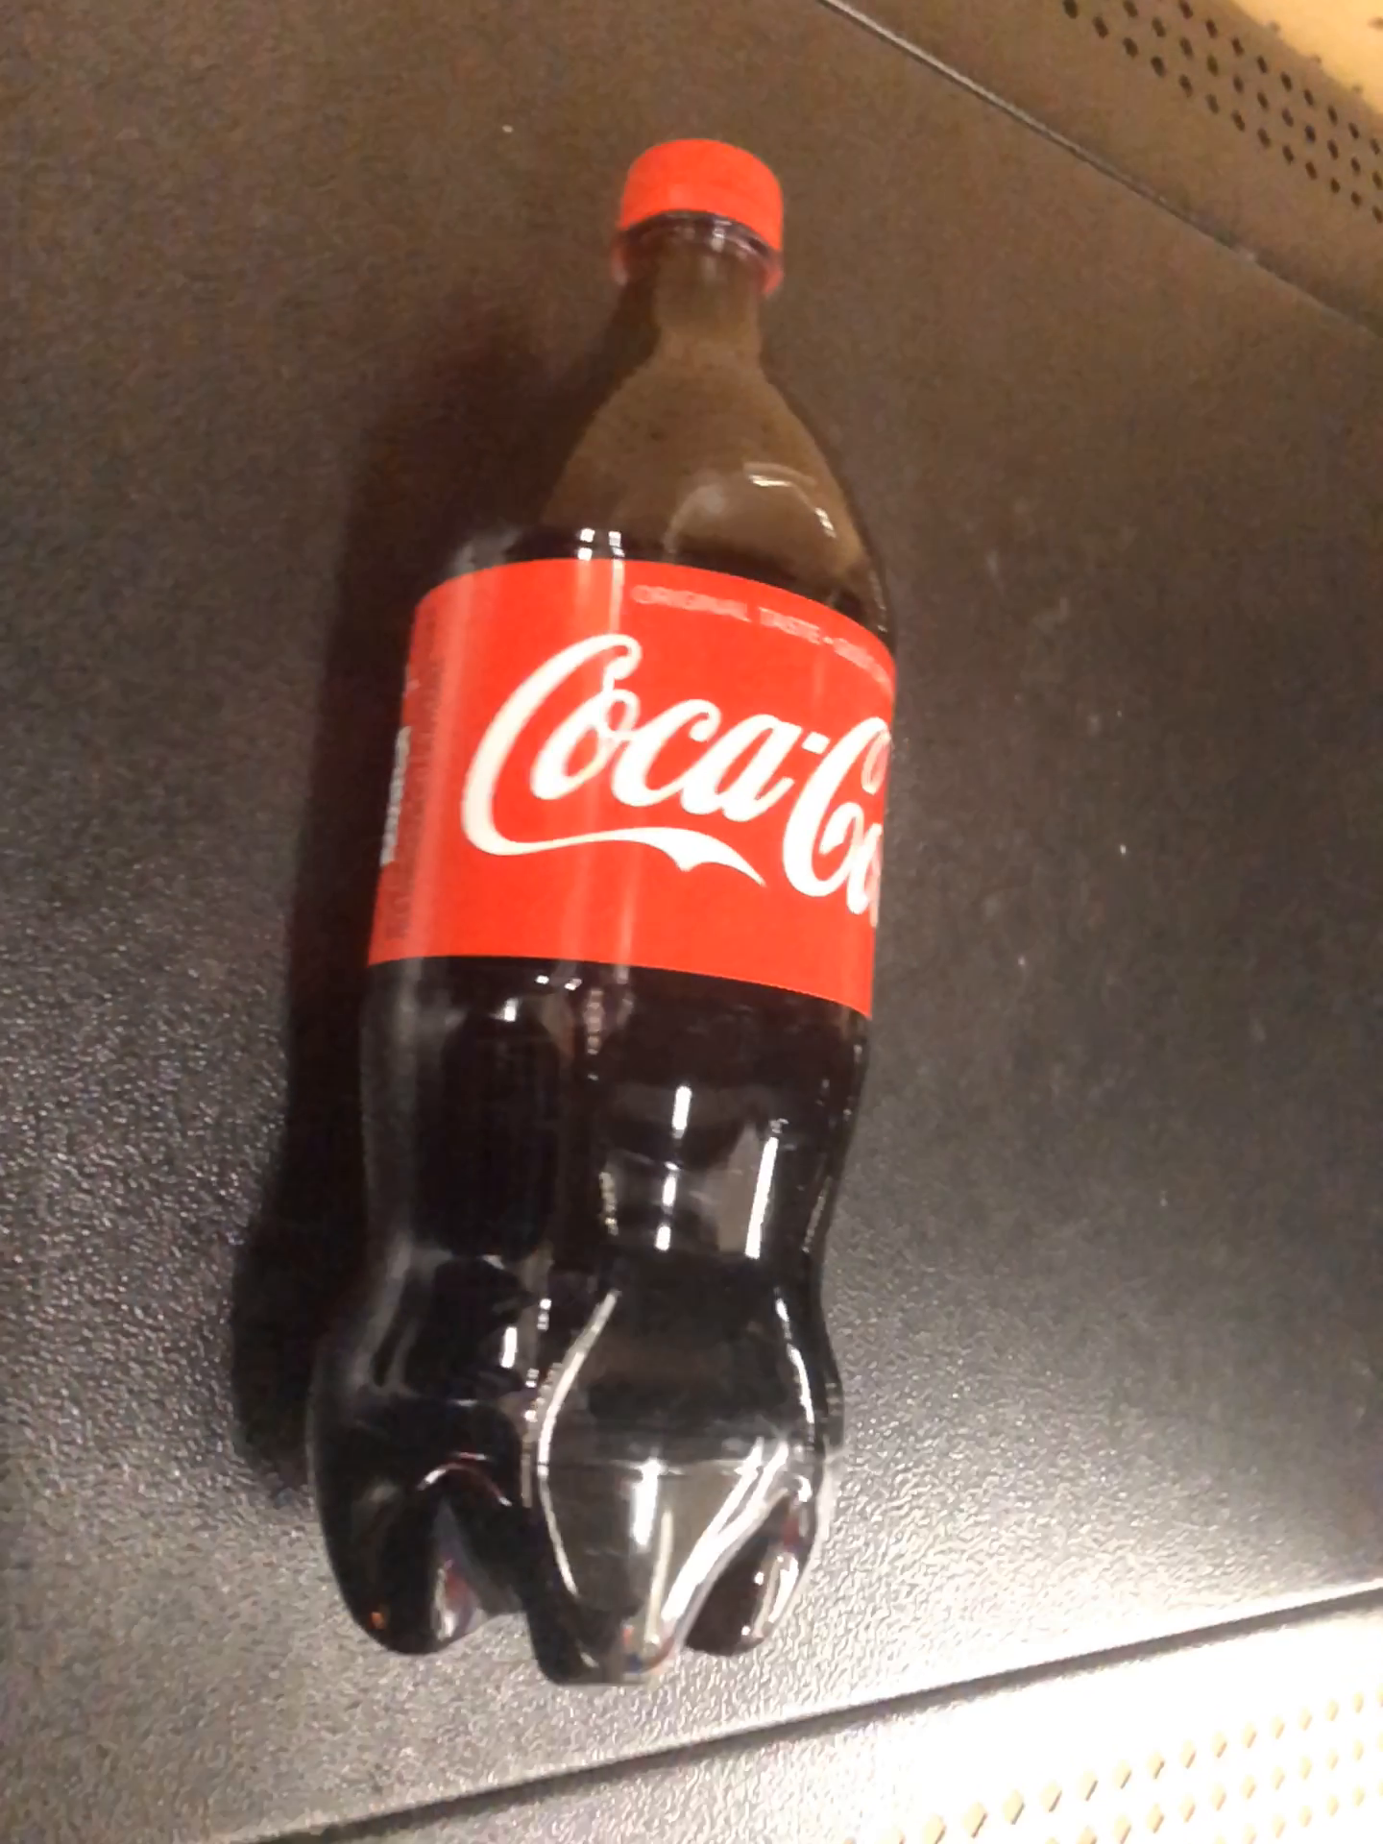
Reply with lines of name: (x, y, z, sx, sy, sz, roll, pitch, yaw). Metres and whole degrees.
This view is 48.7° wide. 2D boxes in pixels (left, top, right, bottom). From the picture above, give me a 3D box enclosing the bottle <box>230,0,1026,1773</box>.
bottle: (-0.008, -0.012, 0.265, 0.080, 0.080, 0.260, 12, 79, -34)
